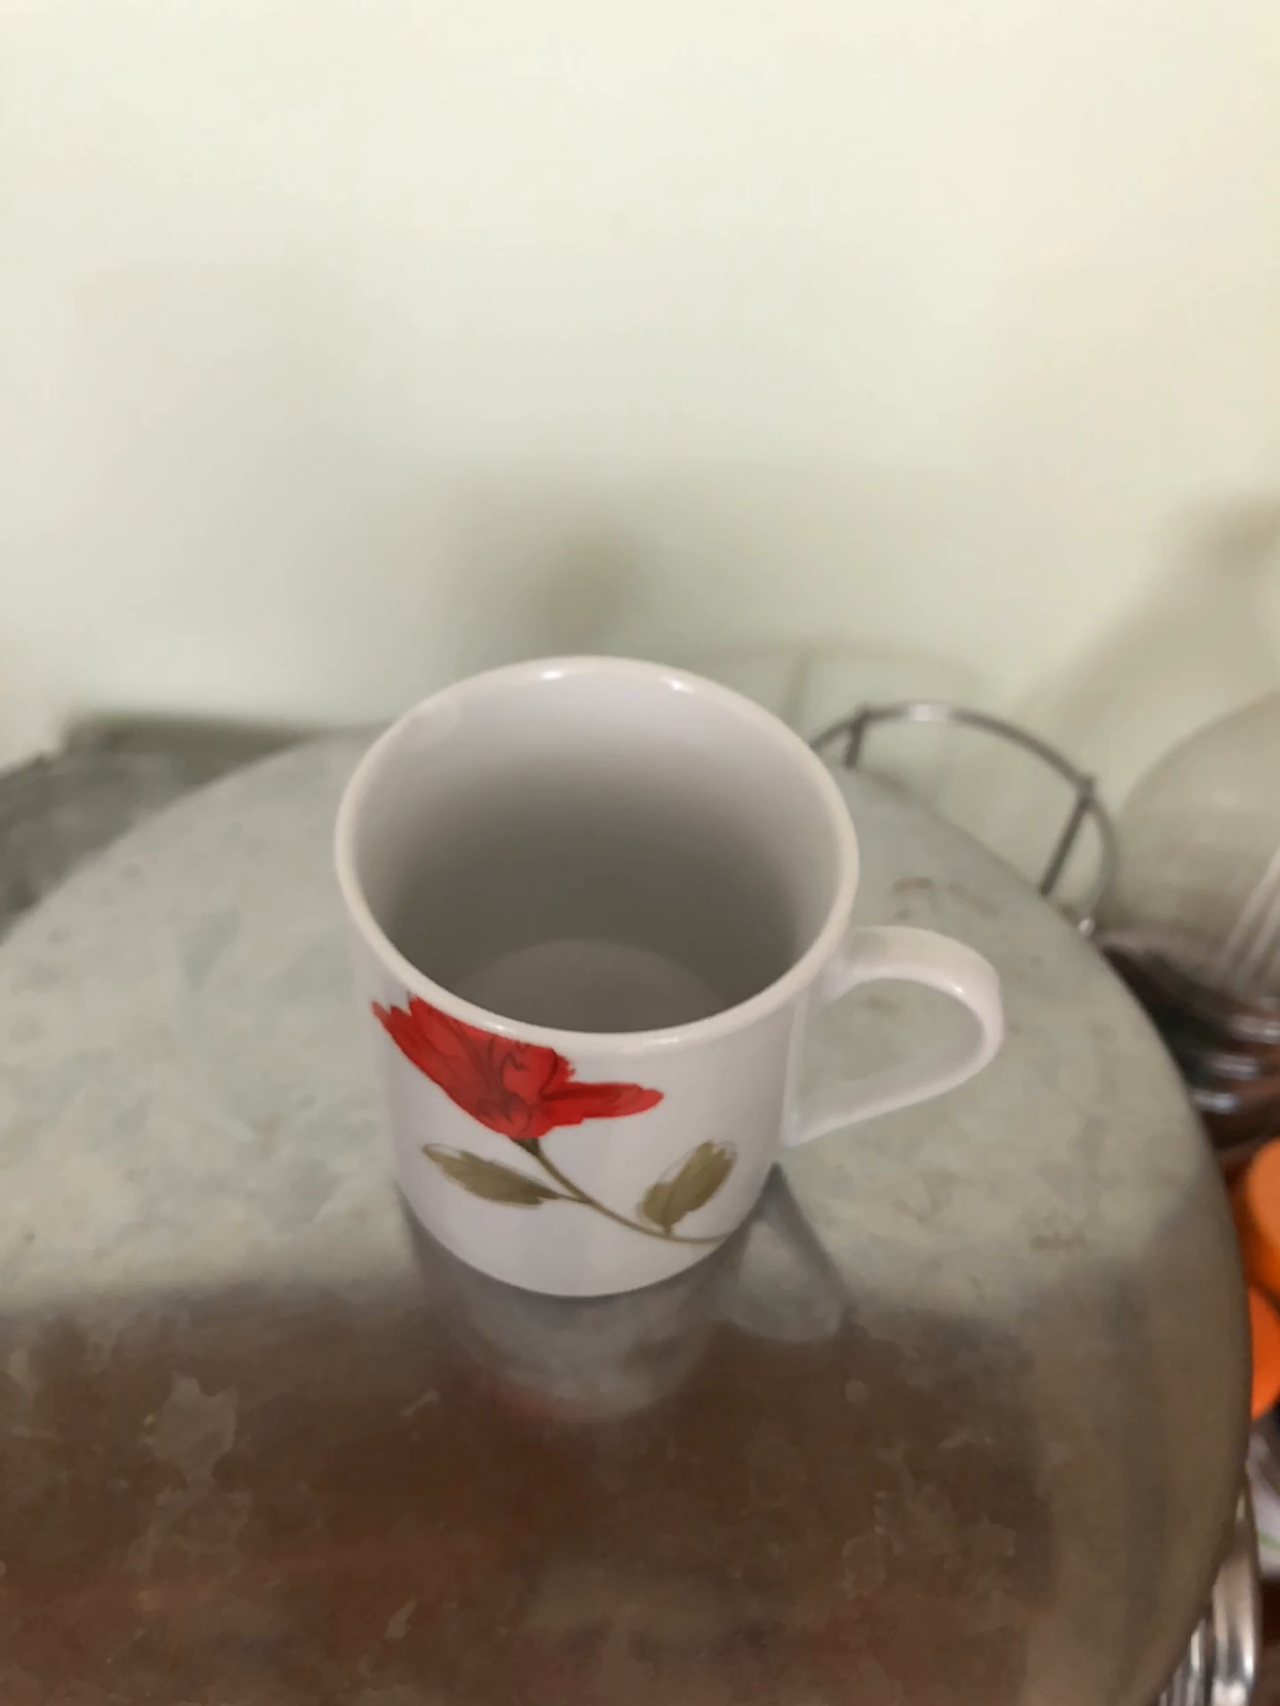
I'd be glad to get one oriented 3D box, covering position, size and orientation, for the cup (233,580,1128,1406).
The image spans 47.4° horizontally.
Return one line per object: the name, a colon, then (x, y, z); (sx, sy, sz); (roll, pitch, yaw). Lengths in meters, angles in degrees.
cup: (0.006, 0.017, 0.171); (0.080, 0.060, 0.060); (10, 49, 3)
